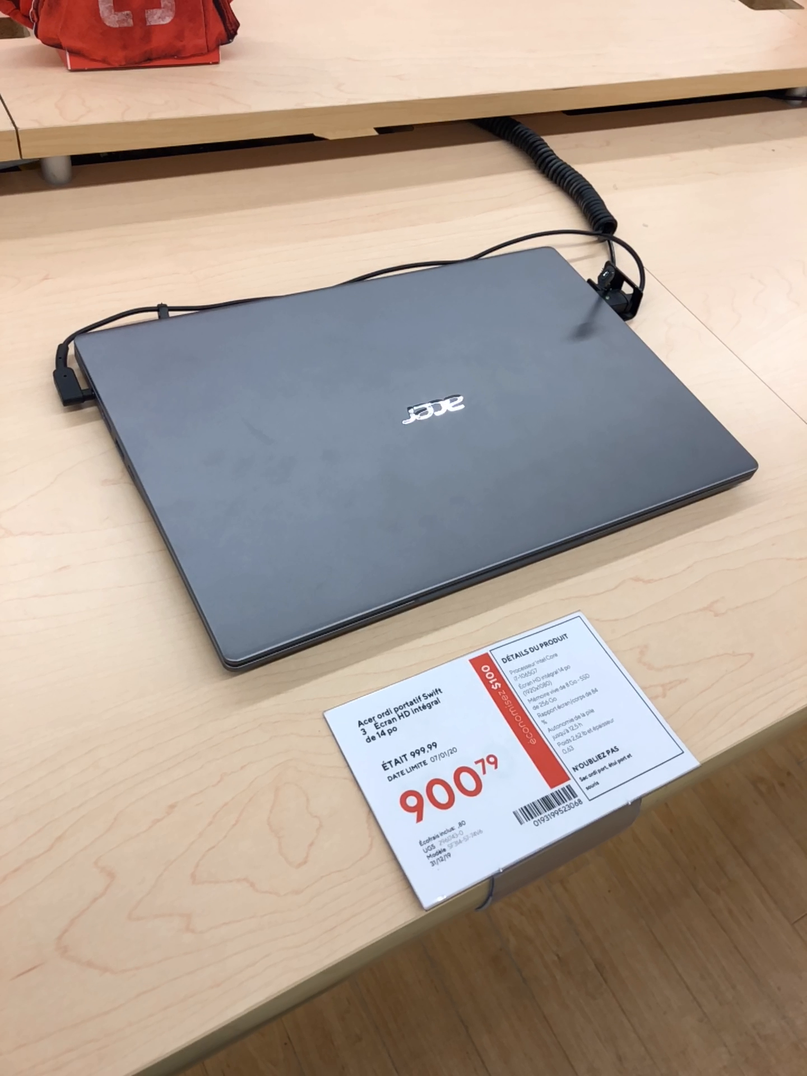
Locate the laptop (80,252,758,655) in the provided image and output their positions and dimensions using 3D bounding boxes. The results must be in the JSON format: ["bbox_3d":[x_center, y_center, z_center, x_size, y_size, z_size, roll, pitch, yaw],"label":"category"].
[{"bbox_3d":[0.015,-0.071,0.472,0.307,0.001,0.201,-18,58,-25],"label":"laptop"}]
